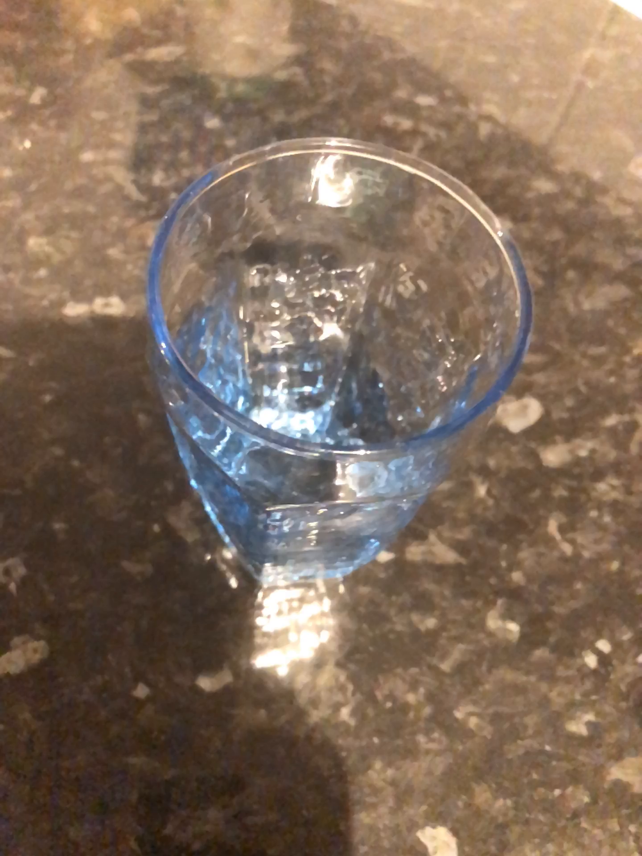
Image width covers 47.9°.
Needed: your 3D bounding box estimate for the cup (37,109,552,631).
[{"bbox_3d":[-0.007,0.000,0.181,0.080,0.120,0.070,6,63,-4],"label":"cup"}]
